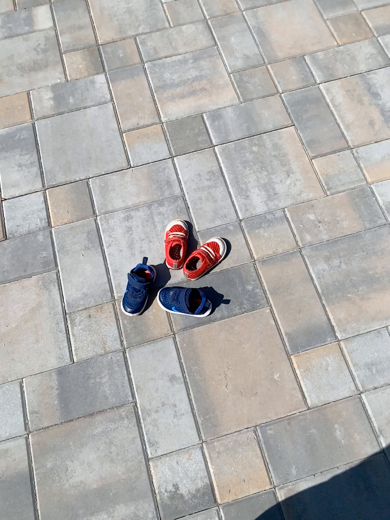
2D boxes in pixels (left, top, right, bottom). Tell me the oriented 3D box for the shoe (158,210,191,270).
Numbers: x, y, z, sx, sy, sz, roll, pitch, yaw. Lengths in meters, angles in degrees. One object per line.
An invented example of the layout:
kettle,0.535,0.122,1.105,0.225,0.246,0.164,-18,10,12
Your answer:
shoe,-0.058,-0.059,1.192,0.080,0.070,0.160,3,69,3

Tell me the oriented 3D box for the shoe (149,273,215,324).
shoe,-0.034,0.109,1.114,0.160,0.080,0.080,16,70,8

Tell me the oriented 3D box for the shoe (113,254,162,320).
shoe,-0.162,0.077,1.146,0.080,0.070,0.160,16,70,8

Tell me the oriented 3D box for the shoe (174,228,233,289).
shoe,0.025,-0.004,1.183,0.160,0.070,0.080,-41,73,-13
